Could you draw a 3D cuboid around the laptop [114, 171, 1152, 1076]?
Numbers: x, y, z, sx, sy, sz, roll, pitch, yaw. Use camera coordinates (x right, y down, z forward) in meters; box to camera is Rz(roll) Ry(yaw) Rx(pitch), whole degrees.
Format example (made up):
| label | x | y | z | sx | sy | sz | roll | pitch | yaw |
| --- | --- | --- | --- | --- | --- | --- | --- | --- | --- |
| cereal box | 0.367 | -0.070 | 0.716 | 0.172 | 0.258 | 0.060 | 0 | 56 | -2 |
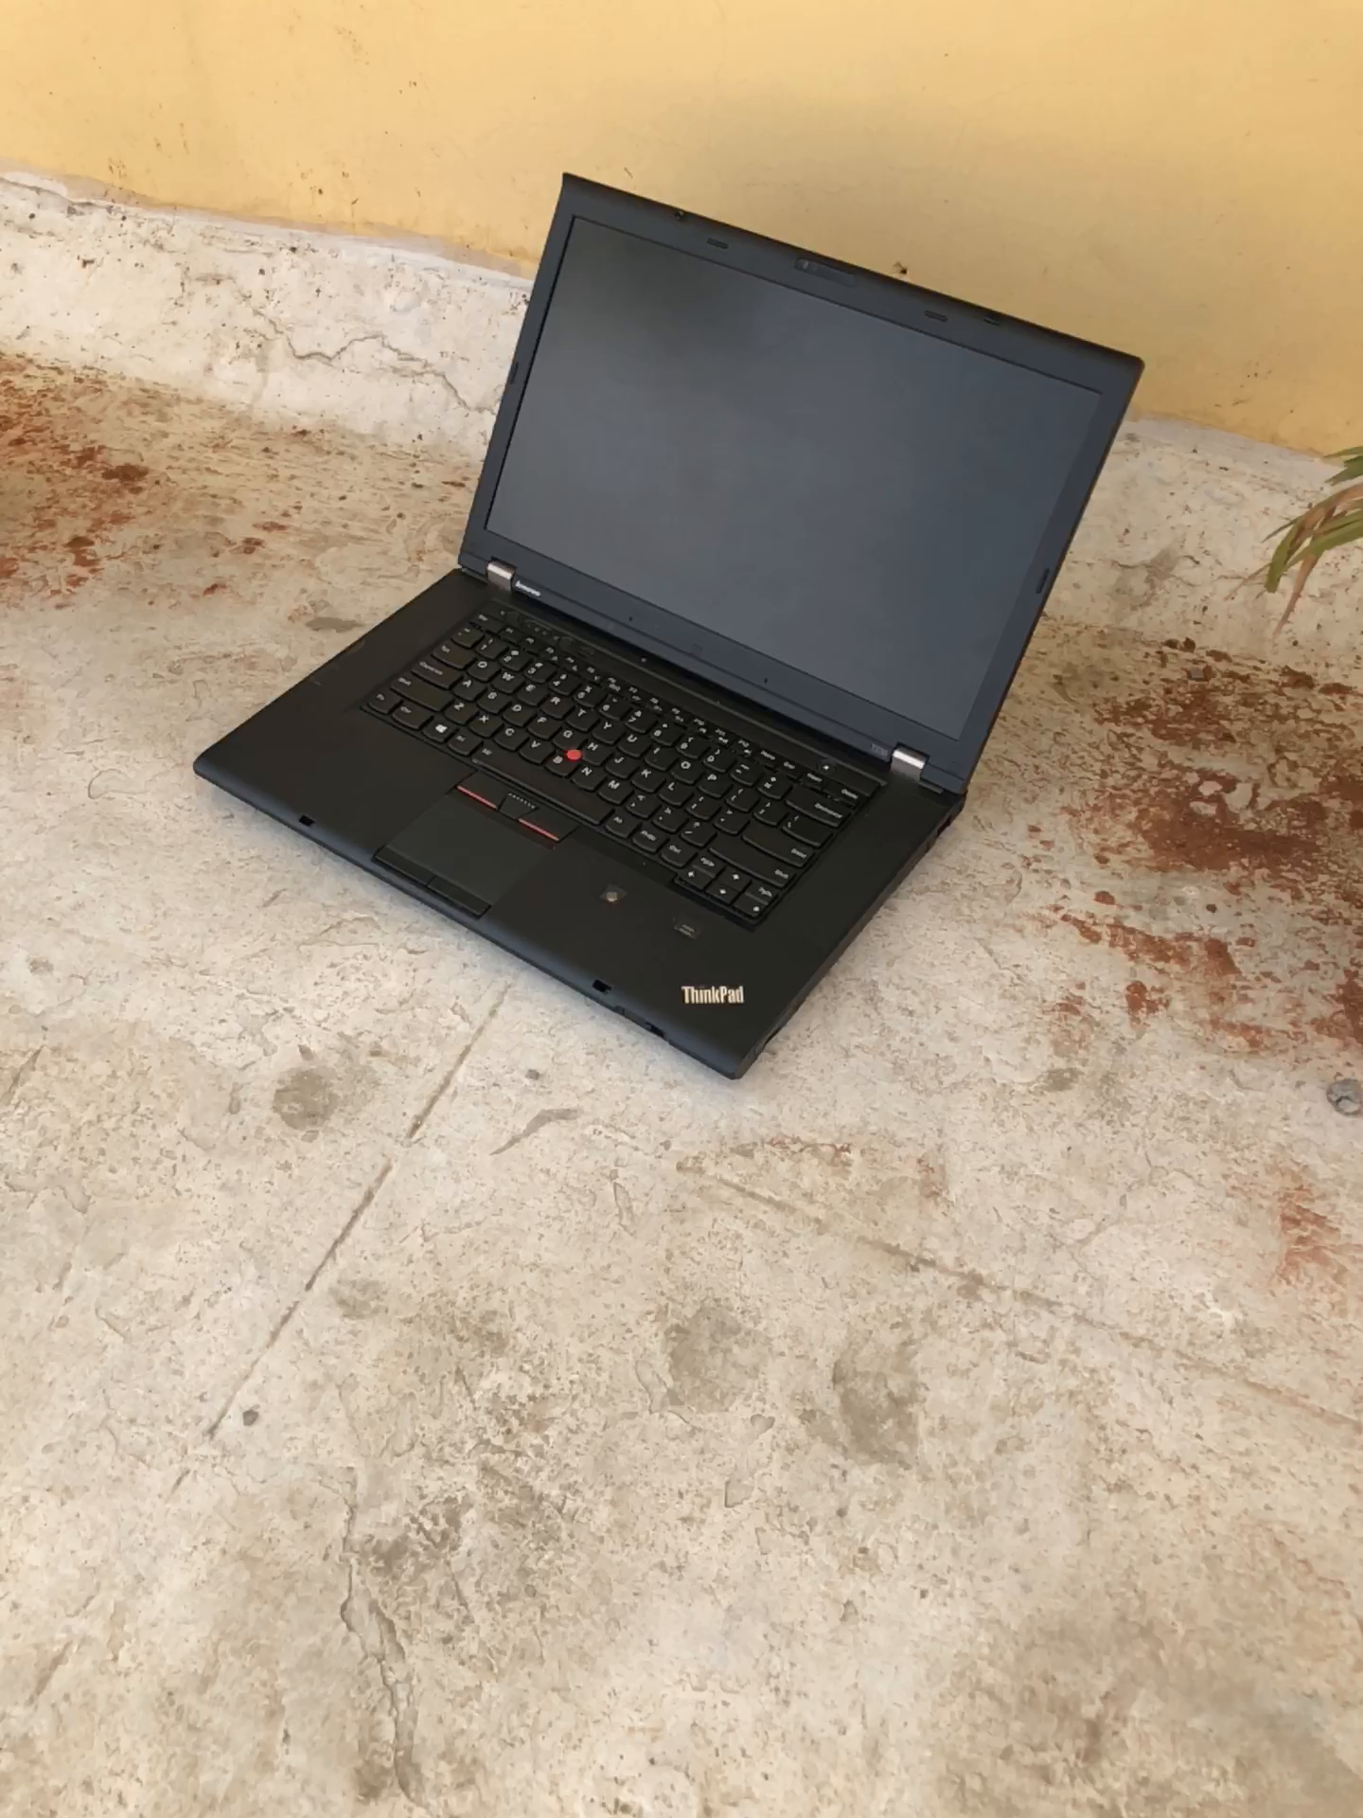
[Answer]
| label | x | y | z | sx | sy | sz | roll | pitch | yaw |
| --- | --- | --- | --- | --- | --- | --- | --- | --- | --- |
| laptop | -0.017 | -0.179 | 0.796 | 0.361 | 0.208 | 0.353 | 28 | 53 | 22 |
